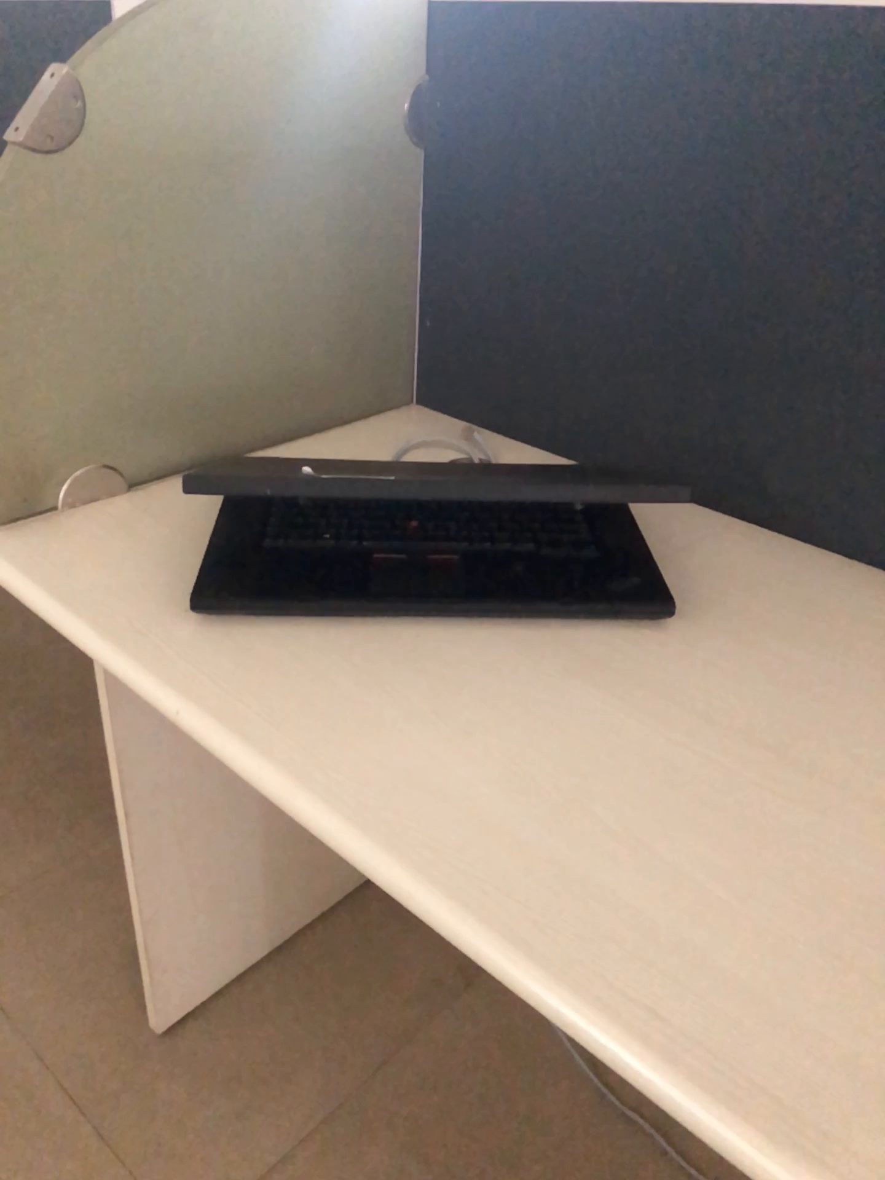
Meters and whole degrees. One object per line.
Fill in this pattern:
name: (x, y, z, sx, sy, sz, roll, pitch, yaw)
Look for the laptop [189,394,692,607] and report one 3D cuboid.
laptop: (-0.006, -0.083, 0.820, 0.363, 0.077, 0.236, 1, 30, -4)
